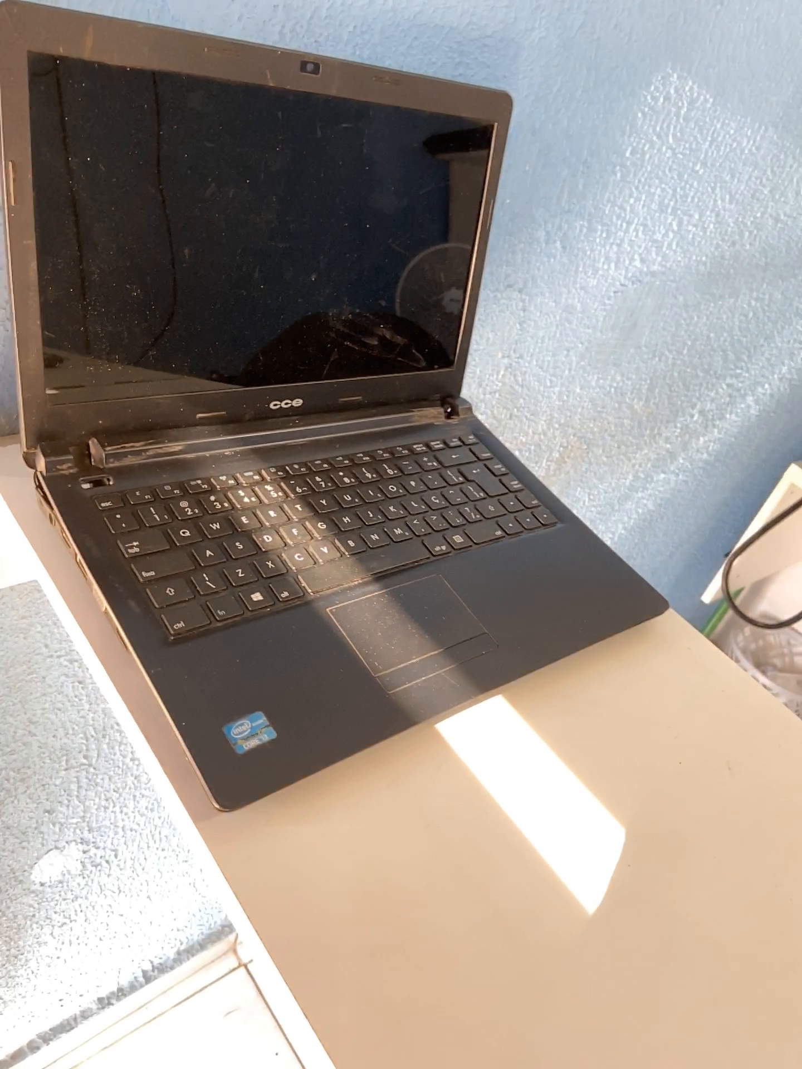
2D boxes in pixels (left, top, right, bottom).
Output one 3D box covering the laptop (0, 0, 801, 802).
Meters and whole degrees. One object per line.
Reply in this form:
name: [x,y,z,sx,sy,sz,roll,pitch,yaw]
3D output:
laptop: [-0.002,-0.105,0.473,0.334,0.210,0.312,-14,50,-38]
